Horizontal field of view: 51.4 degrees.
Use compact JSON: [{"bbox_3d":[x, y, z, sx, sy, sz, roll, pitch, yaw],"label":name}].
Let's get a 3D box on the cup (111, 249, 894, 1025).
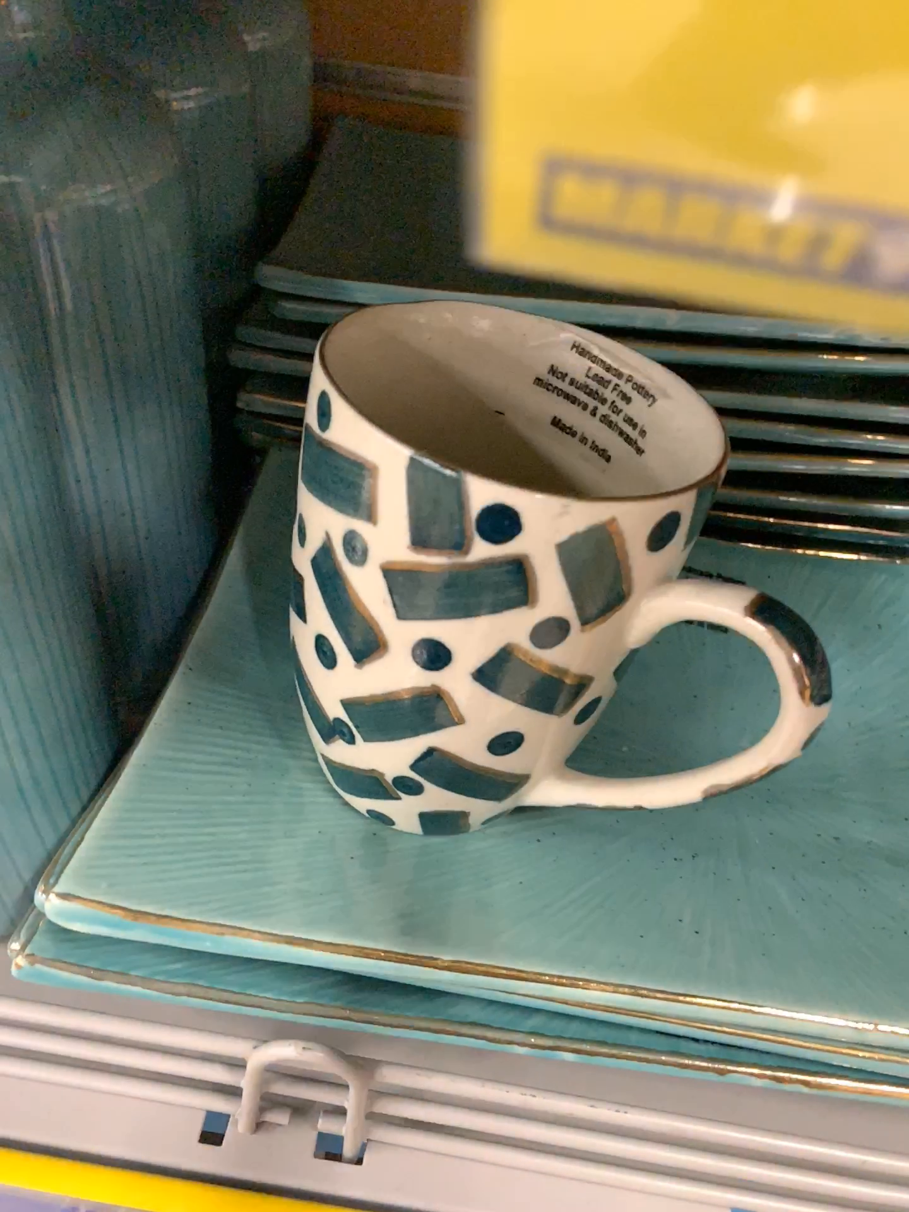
[{"bbox_3d":[0.008,-0.002,0.178,0.110,0.080,0.080,25,36,12],"label":"cup"}]
